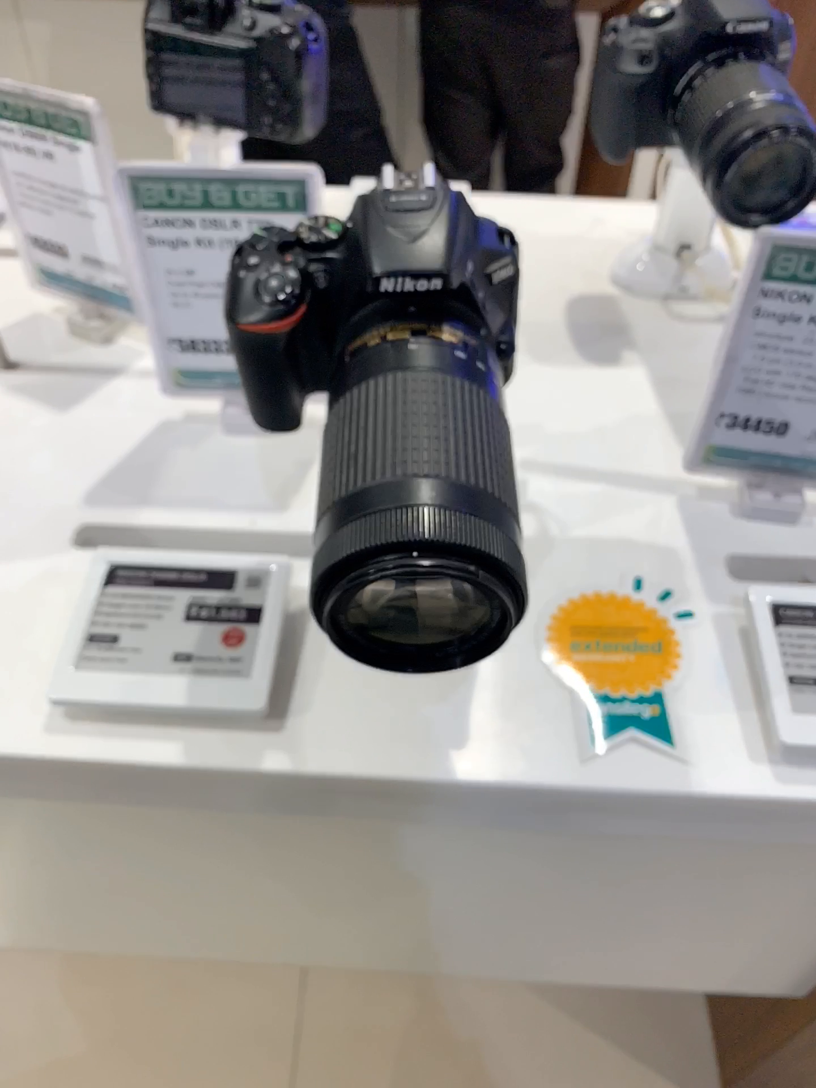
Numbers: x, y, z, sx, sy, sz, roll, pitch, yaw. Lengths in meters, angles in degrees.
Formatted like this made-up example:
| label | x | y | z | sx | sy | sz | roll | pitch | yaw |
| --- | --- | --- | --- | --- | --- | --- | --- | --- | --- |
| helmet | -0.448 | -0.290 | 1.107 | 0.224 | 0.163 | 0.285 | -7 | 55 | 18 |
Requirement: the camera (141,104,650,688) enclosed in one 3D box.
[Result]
| label | x | y | z | sx | sy | sz | roll | pitch | yaw |
| --- | --- | --- | --- | --- | --- | --- | --- | --- | --- |
| camera | -0.004 | -0.083 | 0.345 | 0.130 | 0.080 | 0.281 | 1 | 46 | -1 |
